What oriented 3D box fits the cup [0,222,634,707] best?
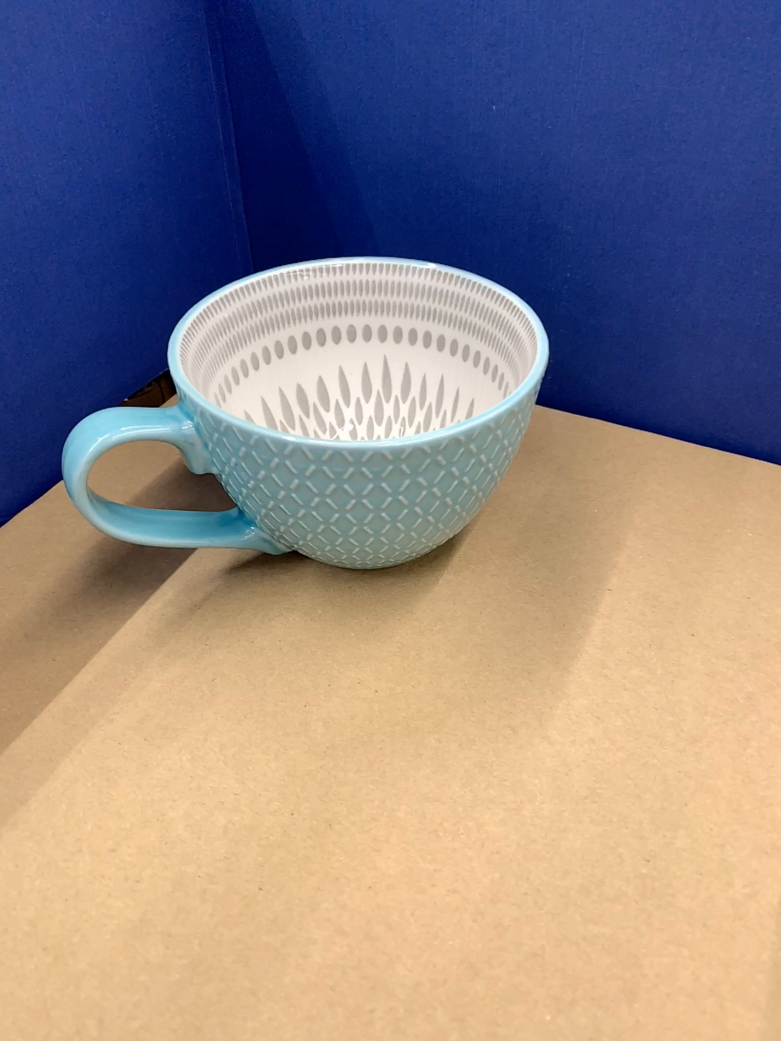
[{"bbox_3d":[-0.027,-0.030,0.253,0.152,0.059,0.113,-18,46,-19],"label":"cup"}]
